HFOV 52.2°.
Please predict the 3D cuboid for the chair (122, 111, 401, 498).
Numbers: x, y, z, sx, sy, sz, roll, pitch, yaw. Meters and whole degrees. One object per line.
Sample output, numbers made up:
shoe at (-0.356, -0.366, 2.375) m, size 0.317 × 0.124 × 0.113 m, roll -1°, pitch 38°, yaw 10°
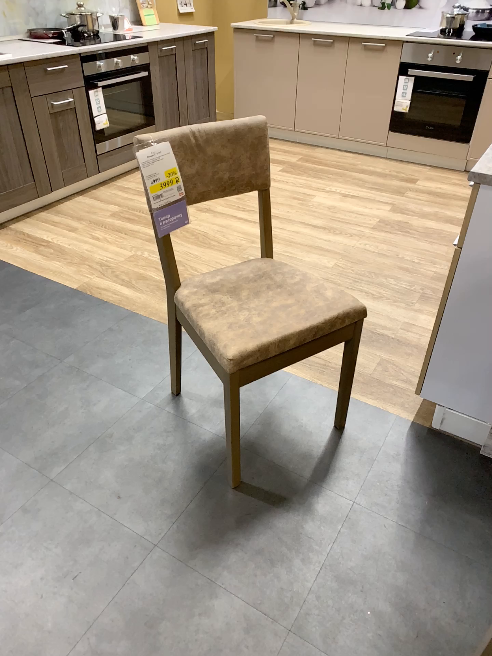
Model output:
chair at (0.016, -0.076, 1.499) m, size 0.481 × 0.925 × 0.512 m, roll -20°, pitch 40°, yaw -27°
